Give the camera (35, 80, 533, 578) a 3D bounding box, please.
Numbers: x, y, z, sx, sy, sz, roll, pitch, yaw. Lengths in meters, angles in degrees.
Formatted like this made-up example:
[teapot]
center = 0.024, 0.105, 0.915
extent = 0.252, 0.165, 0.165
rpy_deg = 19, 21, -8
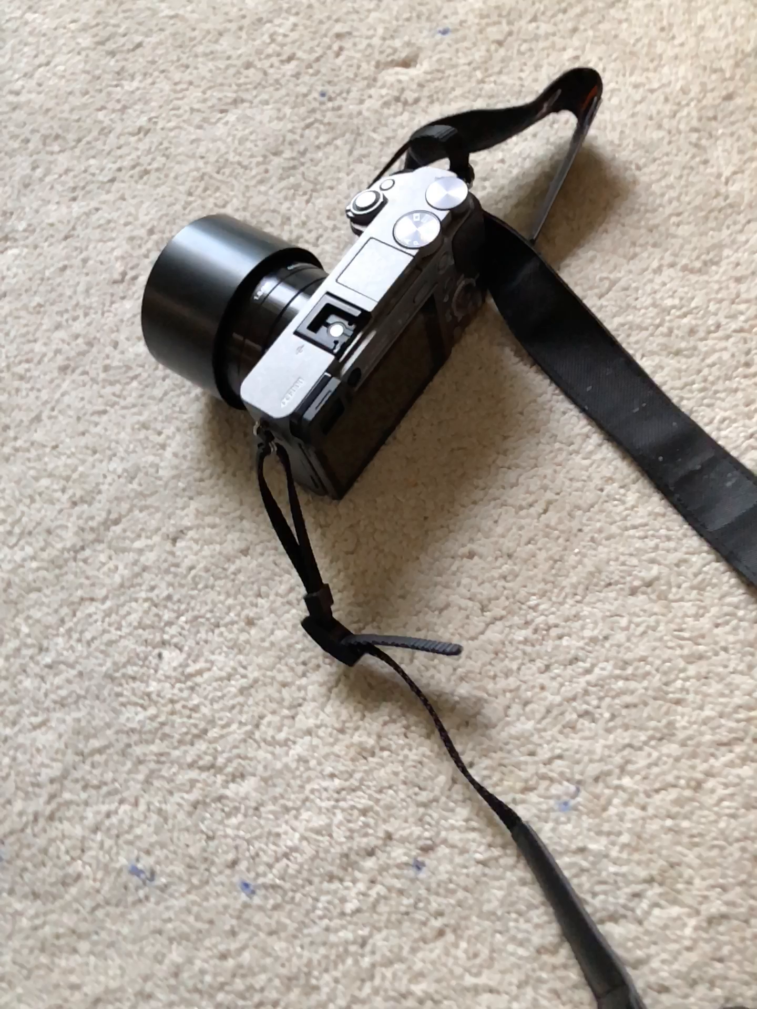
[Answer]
[camera]
center = -0.027, -0.068, 0.313
extent = 0.110, 0.070, 0.140
rpy_deg = 29, 74, 22
